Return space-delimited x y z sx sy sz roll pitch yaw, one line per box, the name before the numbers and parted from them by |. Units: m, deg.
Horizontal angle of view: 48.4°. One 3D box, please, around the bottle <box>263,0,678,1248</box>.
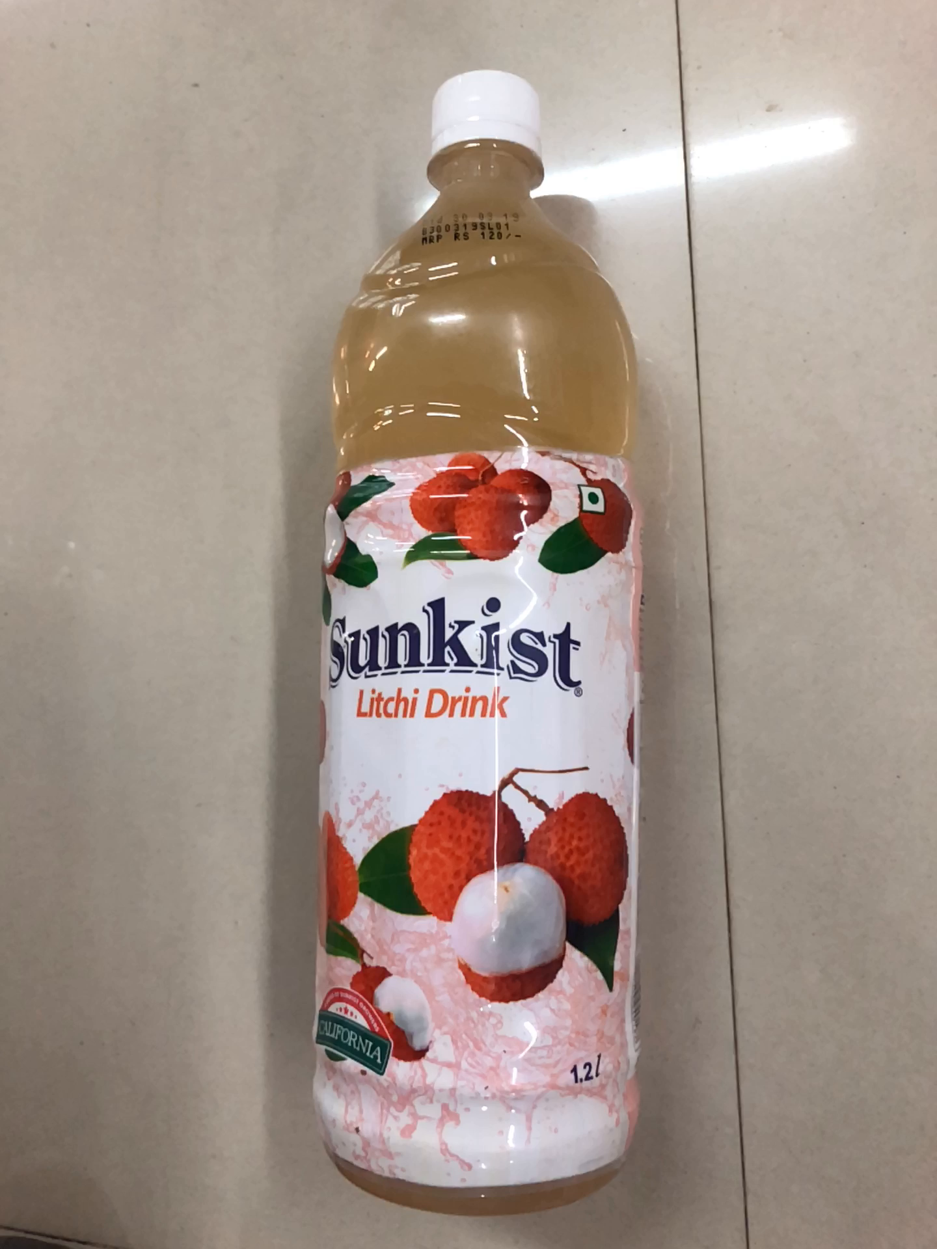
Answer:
bottle | 0.005 -0.008 0.287 0.090 0.080 0.300 -1 87 20
